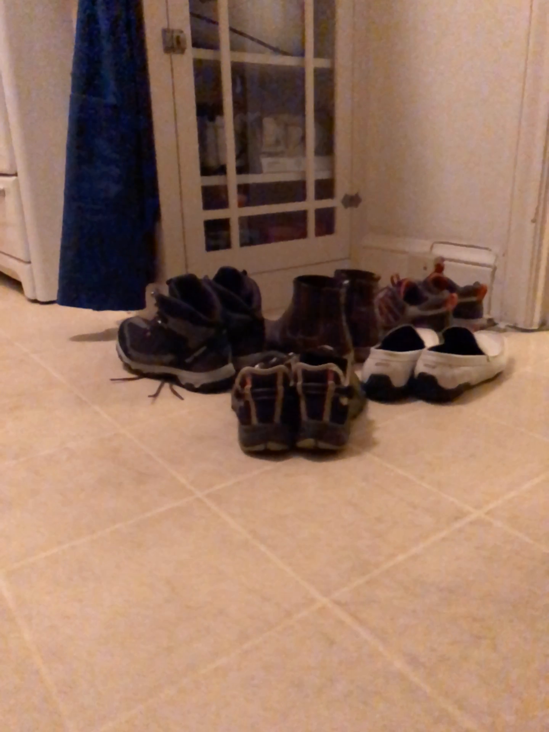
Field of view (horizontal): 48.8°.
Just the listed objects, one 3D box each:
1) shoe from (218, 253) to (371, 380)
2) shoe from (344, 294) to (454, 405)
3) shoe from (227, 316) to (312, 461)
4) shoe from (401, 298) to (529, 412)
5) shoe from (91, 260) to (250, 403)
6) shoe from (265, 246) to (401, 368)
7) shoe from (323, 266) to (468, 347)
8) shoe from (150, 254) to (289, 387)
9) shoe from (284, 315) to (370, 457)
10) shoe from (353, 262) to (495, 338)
[{"bbox_3d":[0.033,-0.115,1.245,0.110,0.192,0.324,-18,25,-40],"label":"shoe"},{"bbox_3d":[0.238,-0.043,1.122,0.110,0.113,0.304,9,21,27],"label":"shoe"},{"bbox_3d":[-0.012,0.021,0.943,0.110,0.123,0.294,-2,19,-2],"label":"shoe"},{"bbox_3d":[0.349,-0.031,1.088,0.110,0.113,0.304,13,23,36],"label":"shoe"},{"bbox_3d":[-0.199,-0.078,1.126,0.110,0.192,0.324,-19,25,-41],"label":"shoe"},{"bbox_3d":[0.114,-0.141,1.309,0.110,0.192,0.324,-13,22,-30],"label":"shoe"},{"bbox_3d":[0.257,-0.141,1.341,0.110,0.113,0.314,-16,24,-37],"label":"shoe"},{"bbox_3d":[-0.117,-0.104,1.216,0.110,0.192,0.324,-15,23,-36],"label":"shoe"},{"bbox_3d":[0.091,0.017,0.955,0.110,0.123,0.294,2,19,9],"label":"shoe"},{"bbox_3d":[0.337,-0.162,1.412,0.110,0.113,0.314,-16,24,-37],"label":"shoe"}]
